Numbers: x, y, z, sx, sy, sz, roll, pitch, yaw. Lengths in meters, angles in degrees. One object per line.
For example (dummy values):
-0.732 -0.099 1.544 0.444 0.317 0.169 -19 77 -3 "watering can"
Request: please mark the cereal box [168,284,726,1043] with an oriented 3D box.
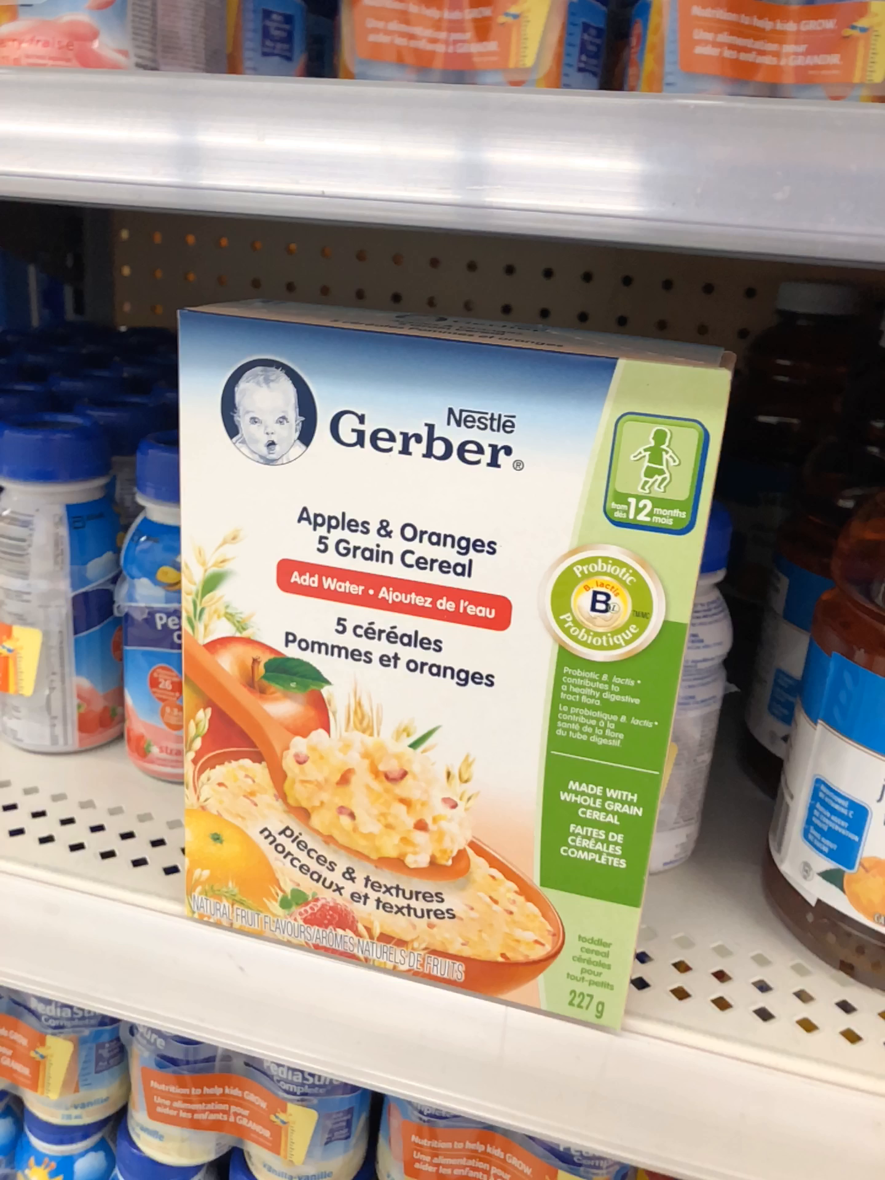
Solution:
-0.005 0.020 0.294 0.140 0.199 0.050 10 20 12 "cereal box"
